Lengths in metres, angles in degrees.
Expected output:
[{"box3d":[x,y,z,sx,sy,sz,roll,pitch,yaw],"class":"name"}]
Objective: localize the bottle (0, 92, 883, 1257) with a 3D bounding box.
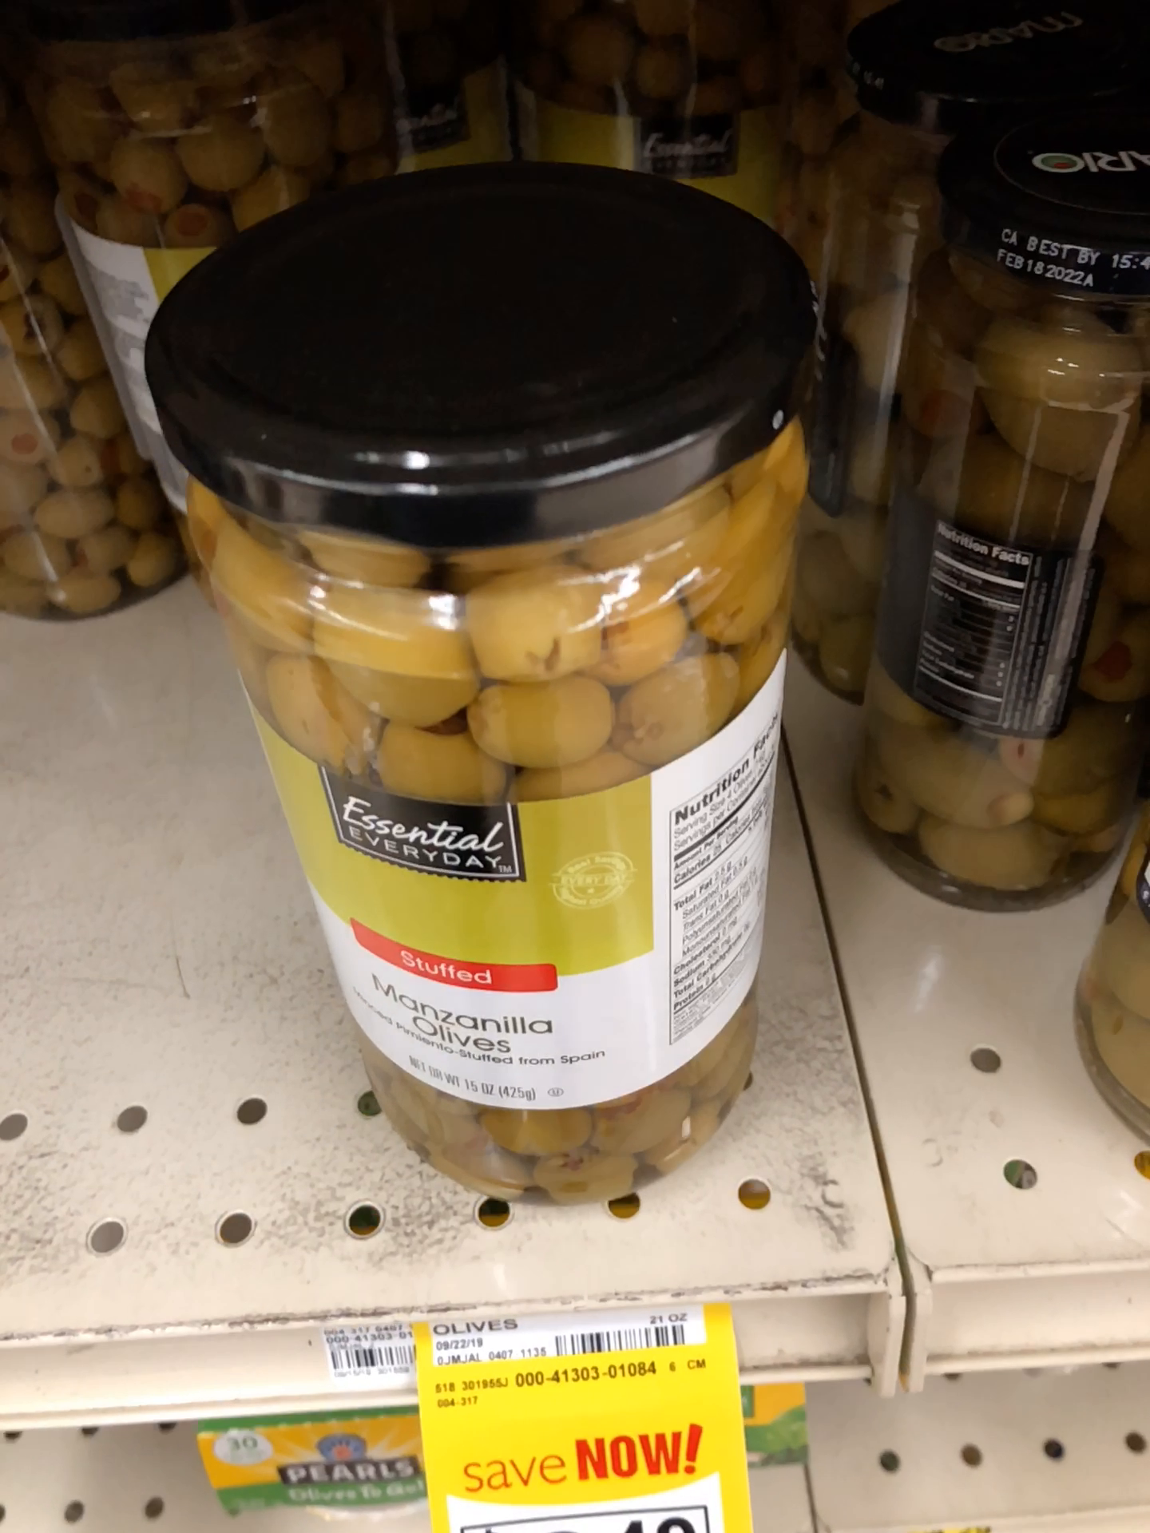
[{"box3d":[-0.008,-0.002,0.199,0.080,0.164,0.070,11,49,14],"class":"bottle"}]
